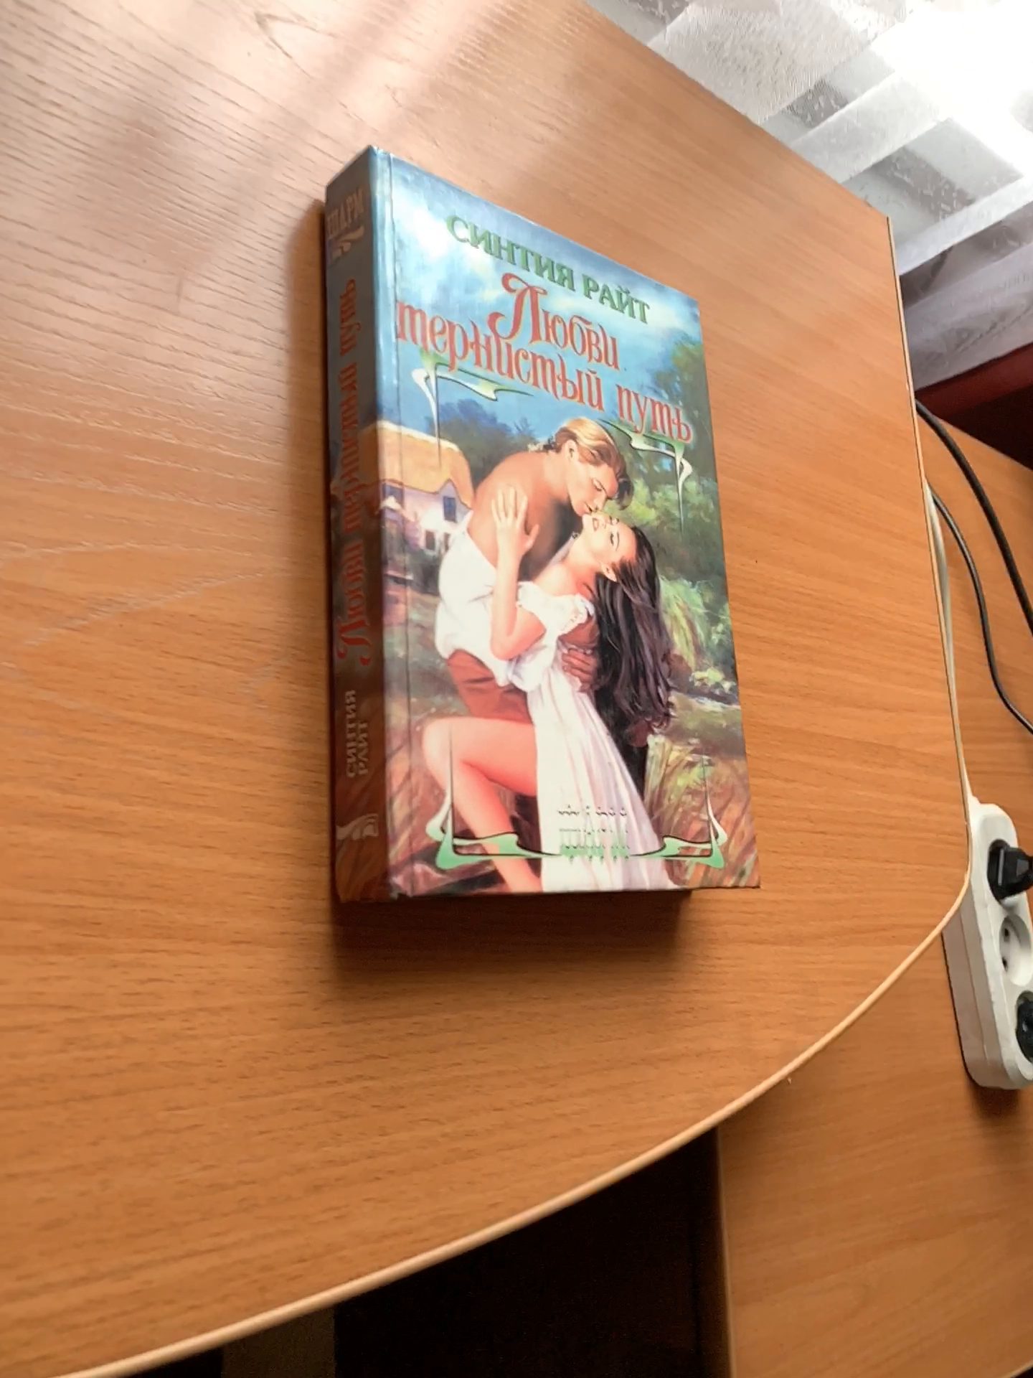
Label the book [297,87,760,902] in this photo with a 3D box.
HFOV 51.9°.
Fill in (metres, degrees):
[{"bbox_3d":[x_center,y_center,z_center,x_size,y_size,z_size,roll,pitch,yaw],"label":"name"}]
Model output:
[{"bbox_3d":[0.007,-0.046,0.313,0.141,0.030,0.210,8,74,-39],"label":"book"}]
